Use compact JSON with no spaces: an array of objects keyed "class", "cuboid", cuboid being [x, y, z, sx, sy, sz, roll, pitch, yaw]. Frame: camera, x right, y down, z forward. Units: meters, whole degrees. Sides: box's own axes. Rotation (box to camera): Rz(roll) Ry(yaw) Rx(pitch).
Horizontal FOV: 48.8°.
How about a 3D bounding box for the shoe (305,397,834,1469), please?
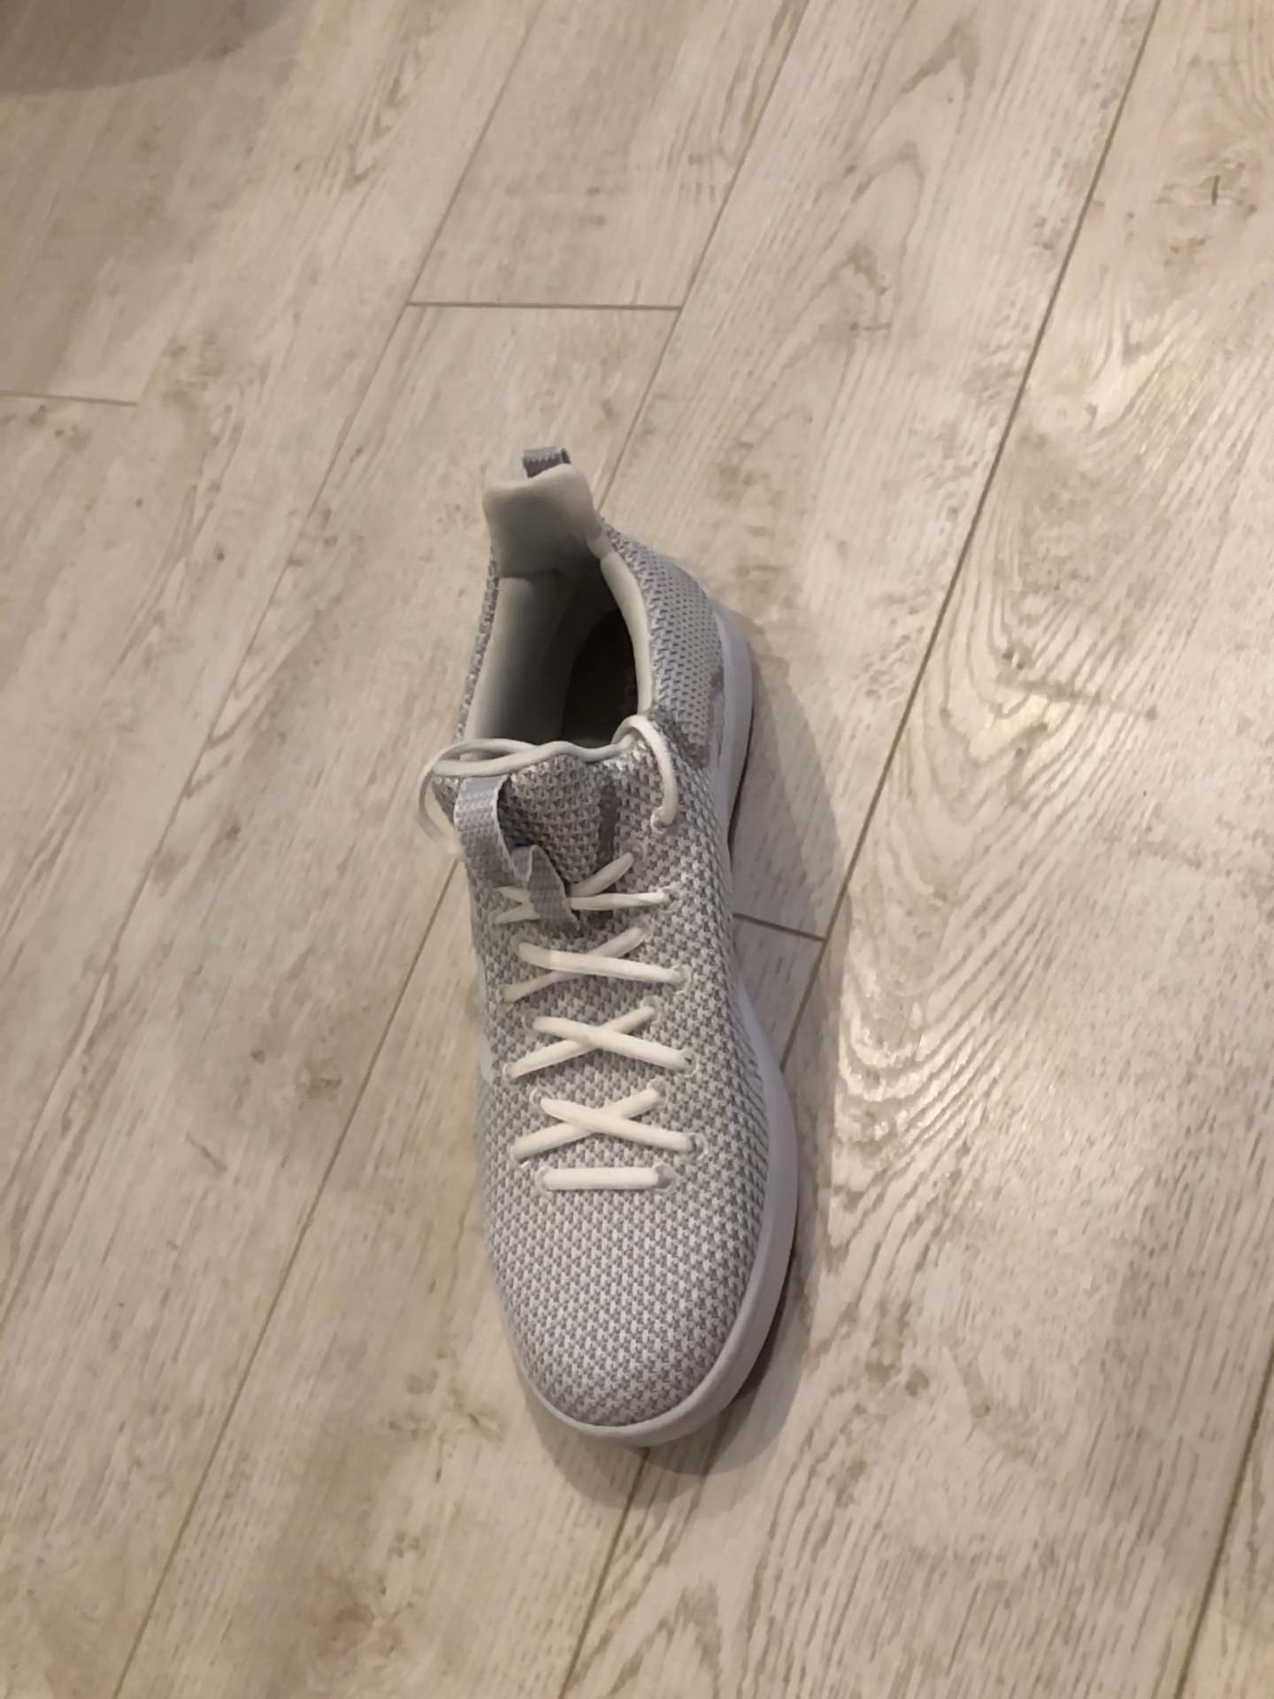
[{"class":"shoe","cuboid":[-0.012,0.027,0.428,0.100,0.110,0.291,-10,66,25]}]
